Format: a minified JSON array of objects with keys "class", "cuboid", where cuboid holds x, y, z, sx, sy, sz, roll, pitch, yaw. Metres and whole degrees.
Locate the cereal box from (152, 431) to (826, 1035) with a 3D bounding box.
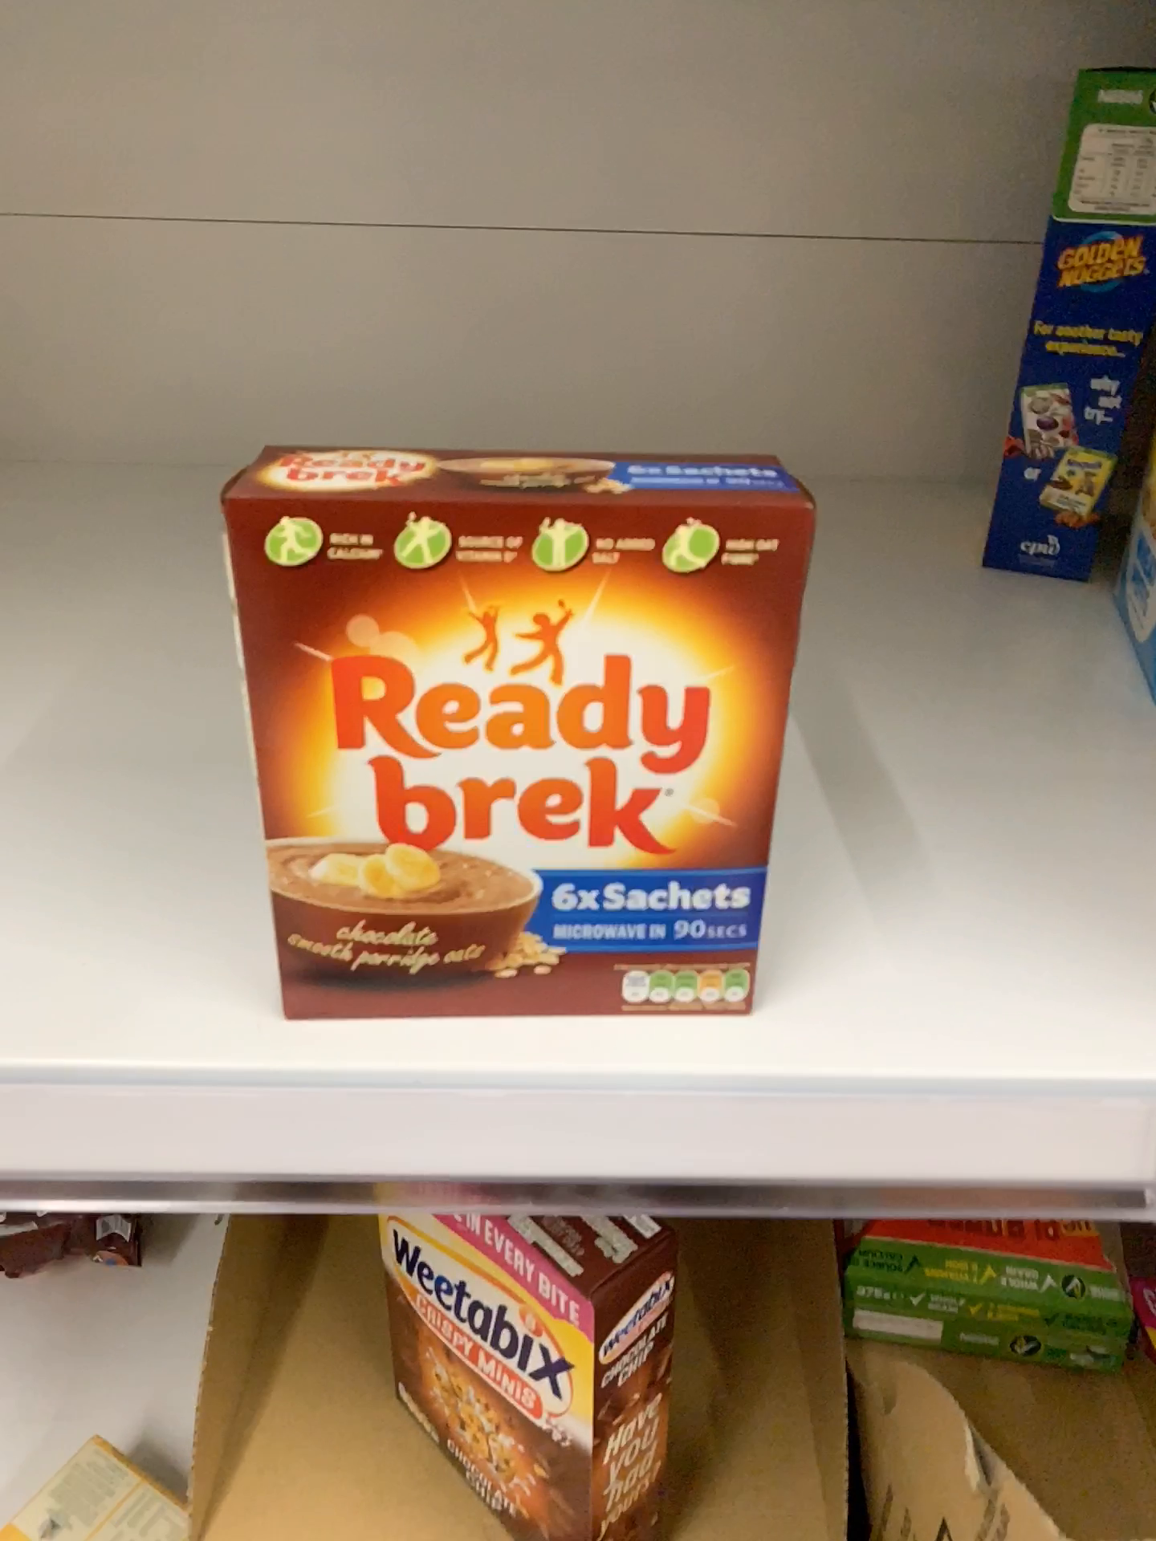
[{"class":"cereal box","cuboid":[-0.026,-0.007,0.387,0.180,0.188,0.061,0,29,-3]}]
